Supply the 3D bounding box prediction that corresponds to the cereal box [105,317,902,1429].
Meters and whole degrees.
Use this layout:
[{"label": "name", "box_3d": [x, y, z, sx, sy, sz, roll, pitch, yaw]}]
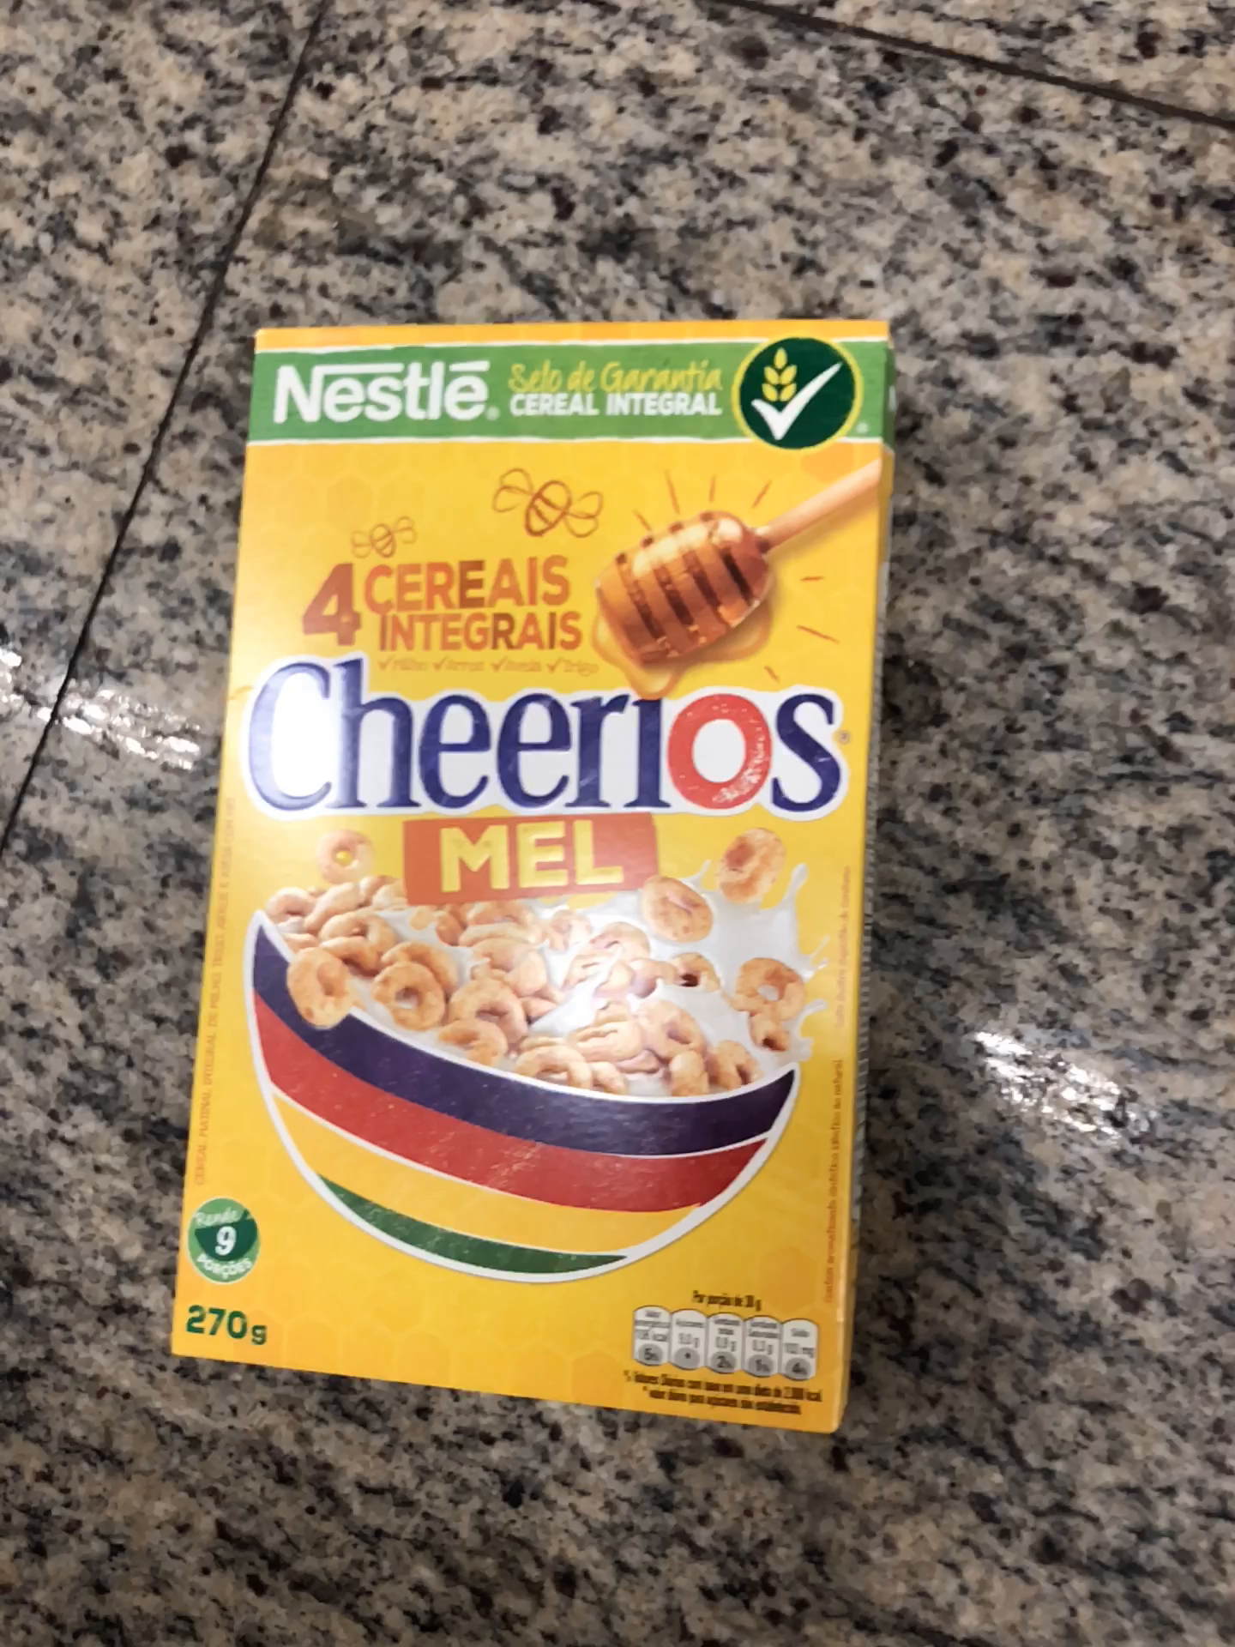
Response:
[{"label": "cereal box", "box_3d": [-0.021, 0.006, 0.339, 0.170, 0.060, 0.240, 2, 84, 9]}]
